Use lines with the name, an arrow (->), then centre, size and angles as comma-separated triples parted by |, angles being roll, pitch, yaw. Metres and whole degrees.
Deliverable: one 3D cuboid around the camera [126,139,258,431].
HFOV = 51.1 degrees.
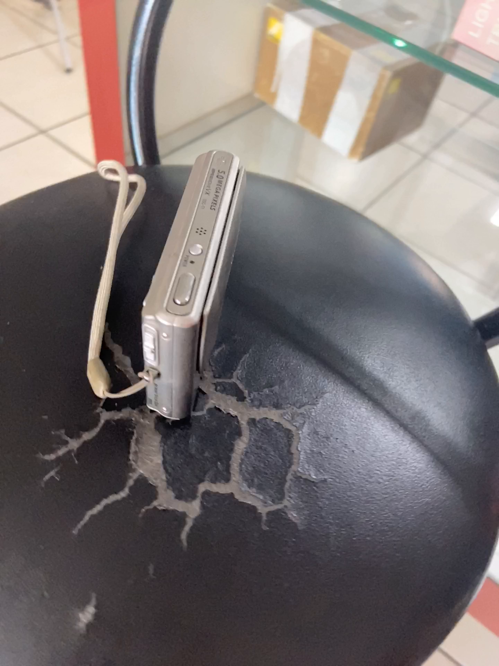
camera -> -0.021, -0.022, 0.210 | 0.030, 0.060, 0.101 | 10, 50, -3
